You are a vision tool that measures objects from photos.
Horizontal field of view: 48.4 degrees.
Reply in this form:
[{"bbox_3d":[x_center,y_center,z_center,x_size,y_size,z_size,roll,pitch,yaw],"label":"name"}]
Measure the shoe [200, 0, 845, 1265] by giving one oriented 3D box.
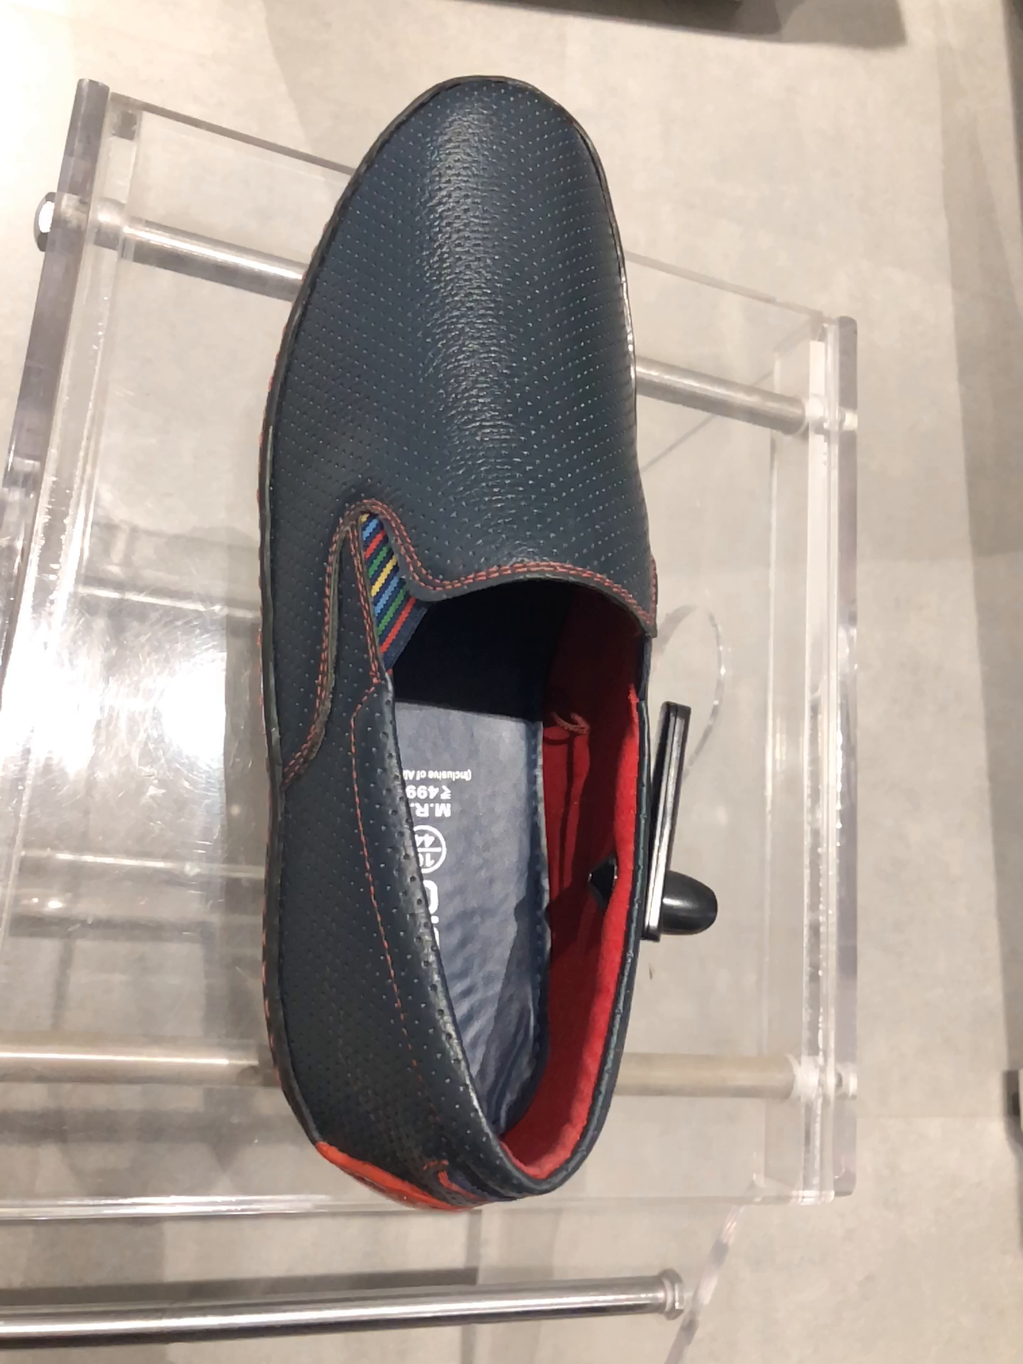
[{"bbox_3d":[-0.002,-0.025,0.274,0.110,0.100,0.270,6,77,-20],"label":"shoe"}]
